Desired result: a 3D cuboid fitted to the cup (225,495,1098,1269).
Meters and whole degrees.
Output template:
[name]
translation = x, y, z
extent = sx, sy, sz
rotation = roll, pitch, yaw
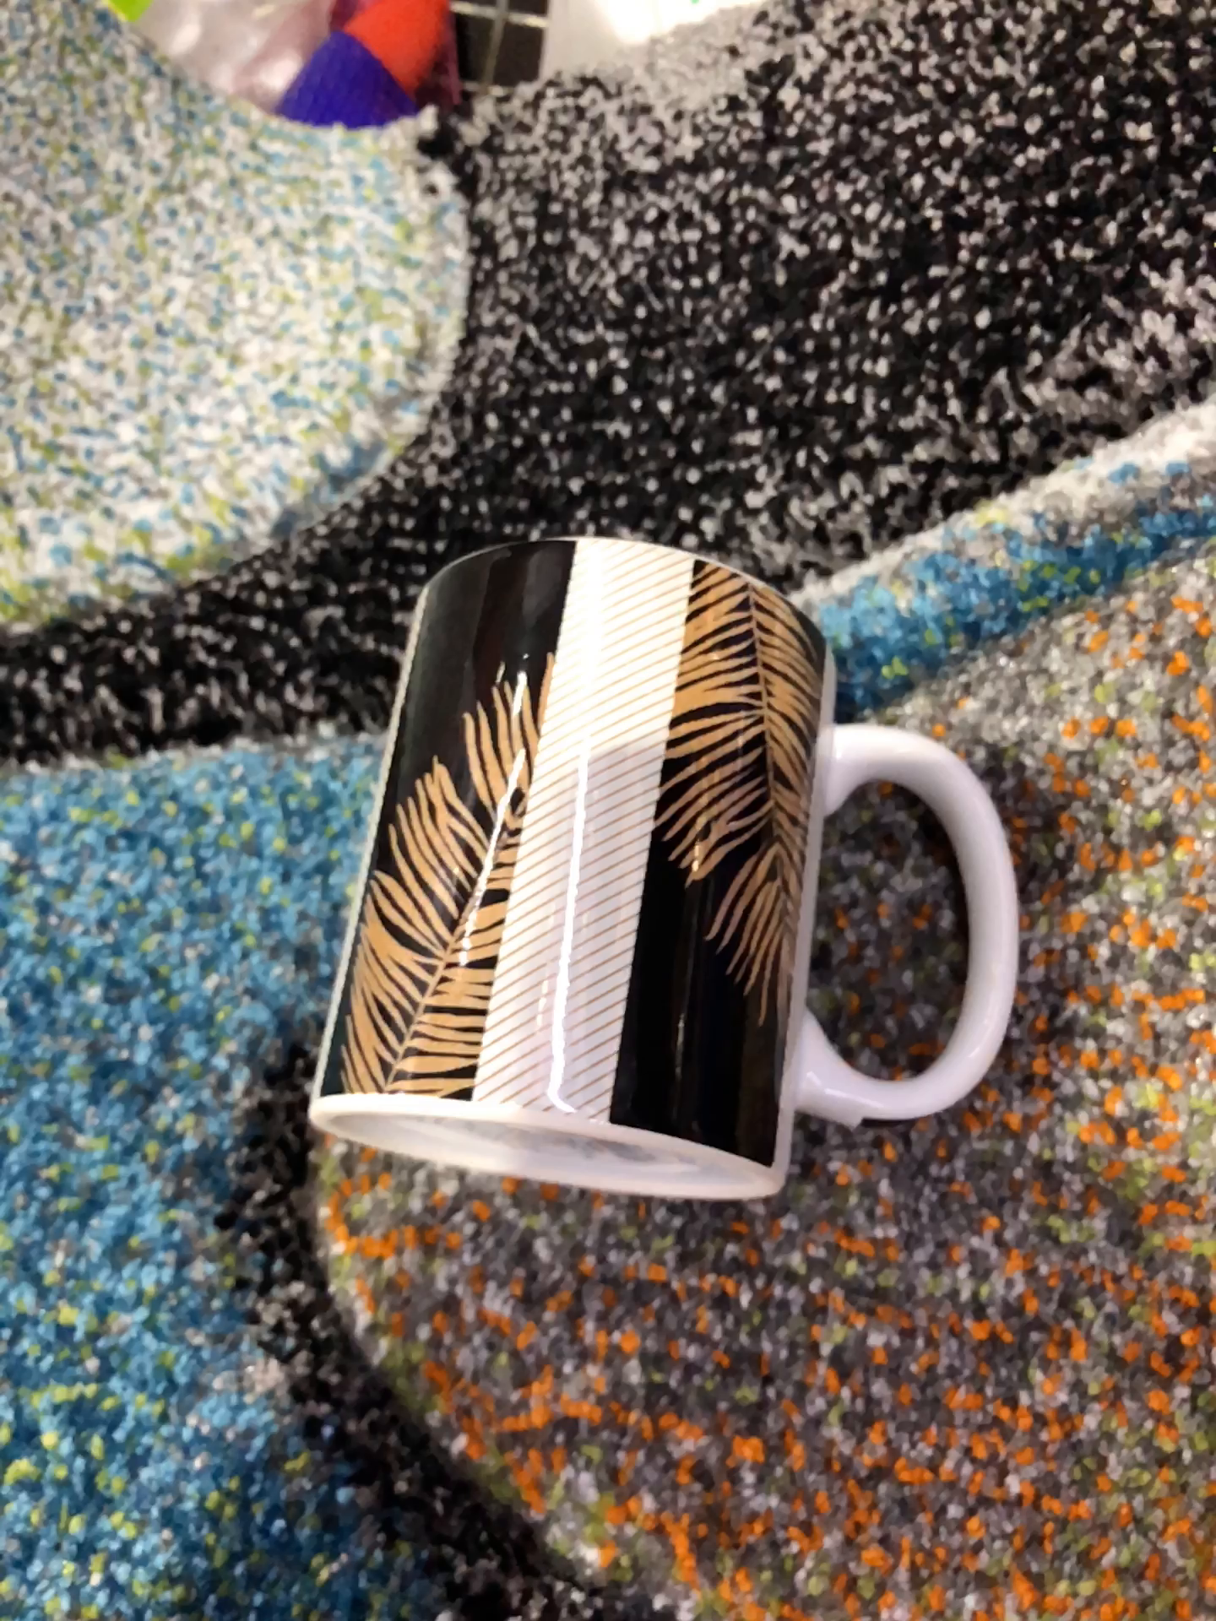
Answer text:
[cup]
translation = 0.009, 0.019, 0.233
extent = 0.120, 0.070, 0.100
rotation = 9, 70, -7
